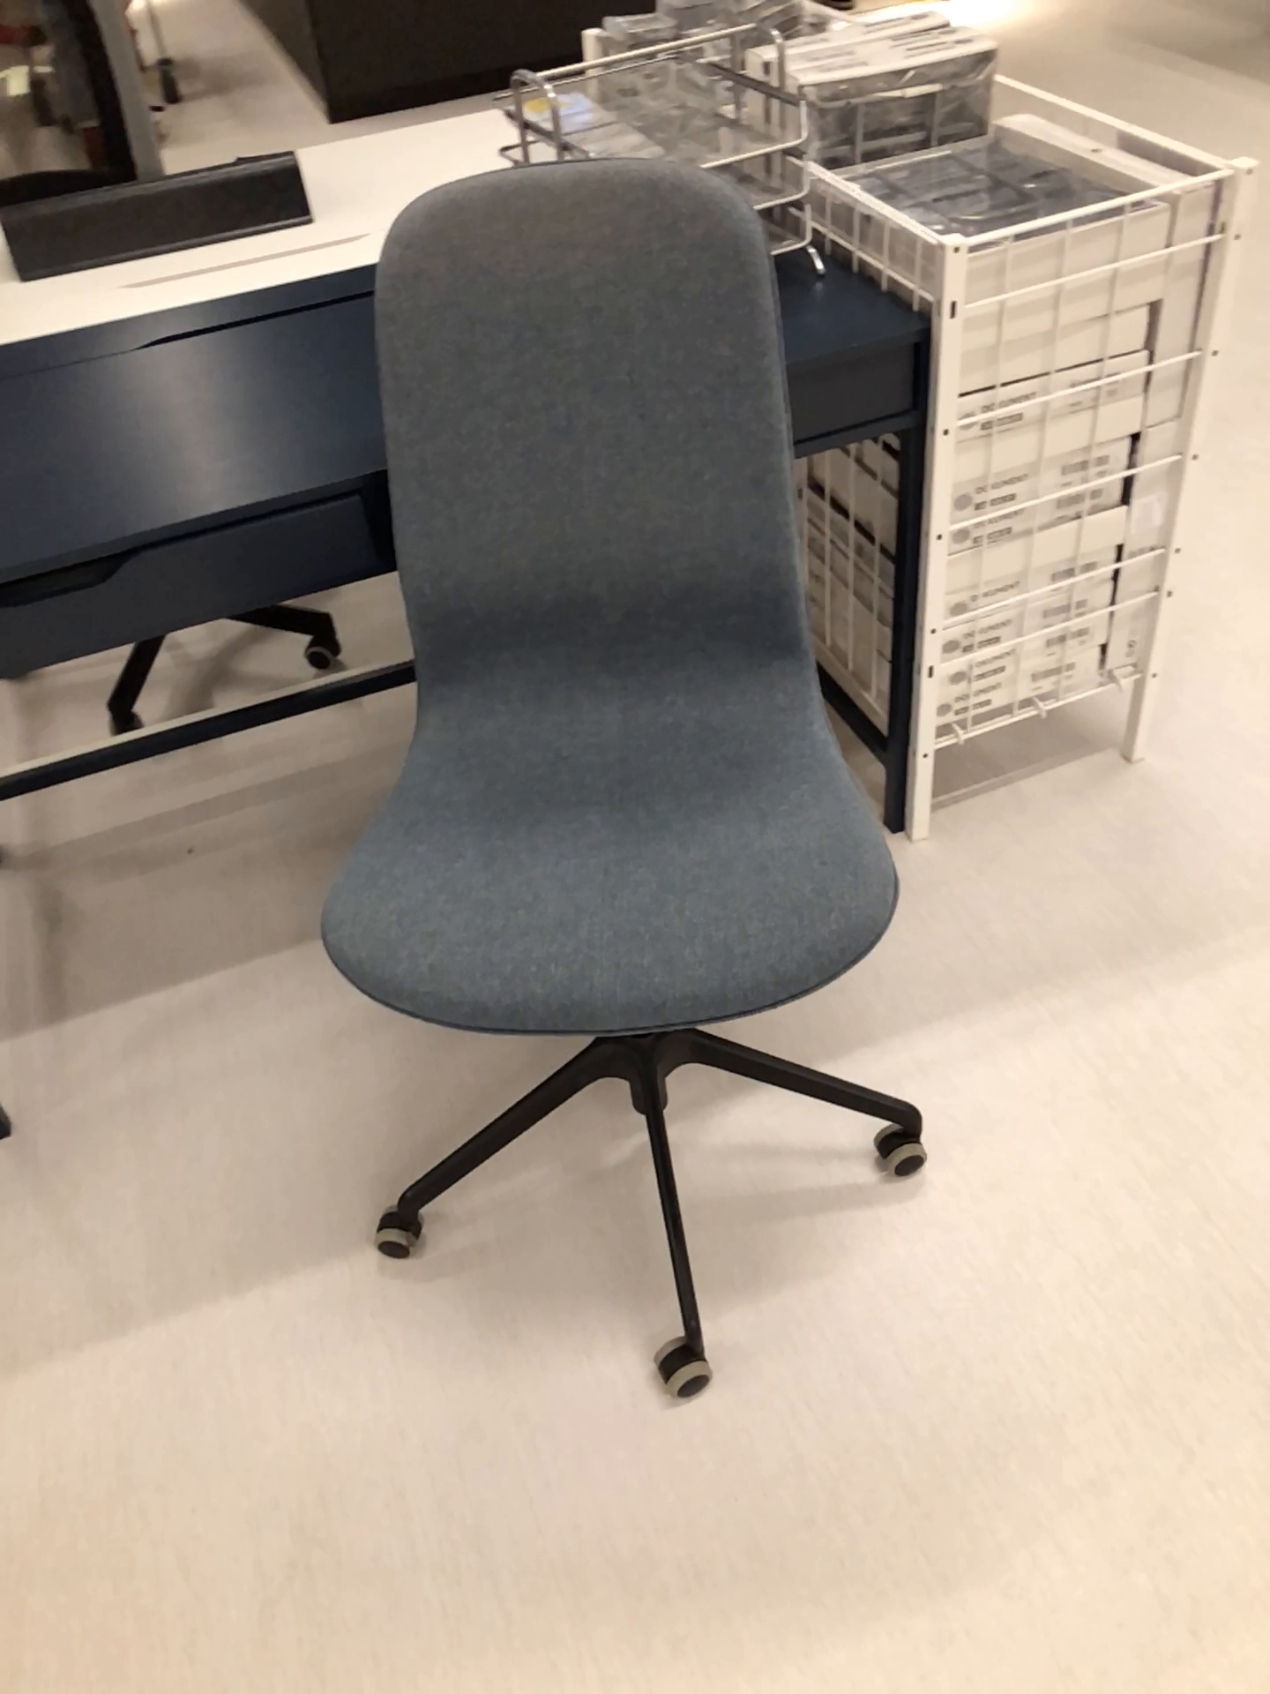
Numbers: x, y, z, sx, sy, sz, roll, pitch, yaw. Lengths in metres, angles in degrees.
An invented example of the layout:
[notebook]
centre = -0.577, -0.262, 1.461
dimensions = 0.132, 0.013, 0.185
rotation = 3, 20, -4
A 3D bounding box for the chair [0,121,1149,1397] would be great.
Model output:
[chair]
centre = 0.001, -0.044, 1.297
dimensions = 0.640, 0.934, 0.685
rotation = -2, 42, 6
